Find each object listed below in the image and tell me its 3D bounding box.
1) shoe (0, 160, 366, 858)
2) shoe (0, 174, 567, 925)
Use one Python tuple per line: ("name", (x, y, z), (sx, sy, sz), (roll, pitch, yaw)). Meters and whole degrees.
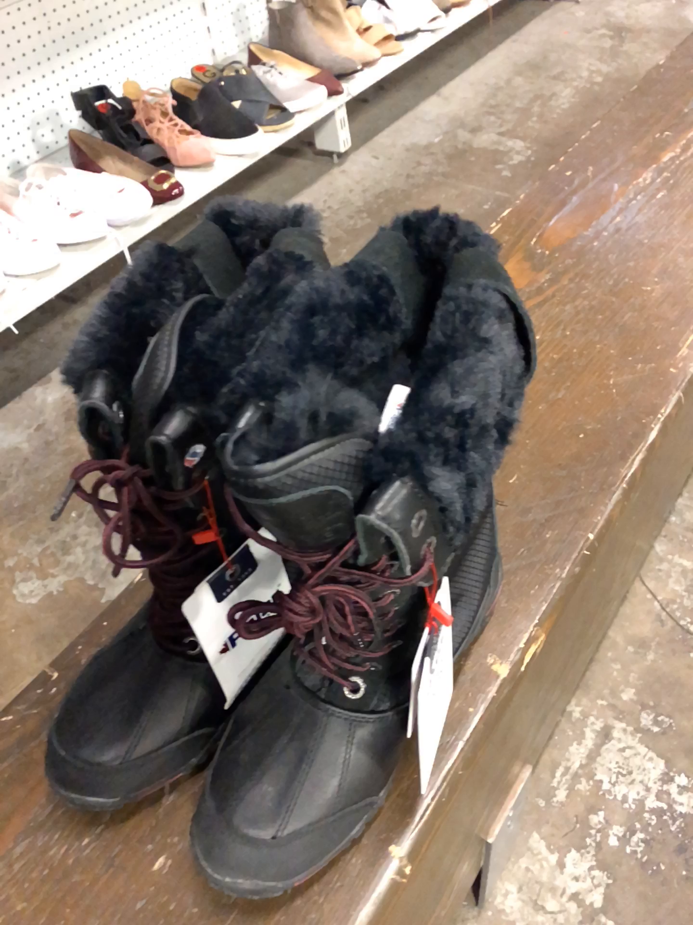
("shoe", (-0.099, 0.028, 0.386), (0.100, 0.258, 0.221), (21, 52, 25))
("shoe", (-0.005, 0.052, 0.348), (0.100, 0.258, 0.231), (21, 52, 25))
